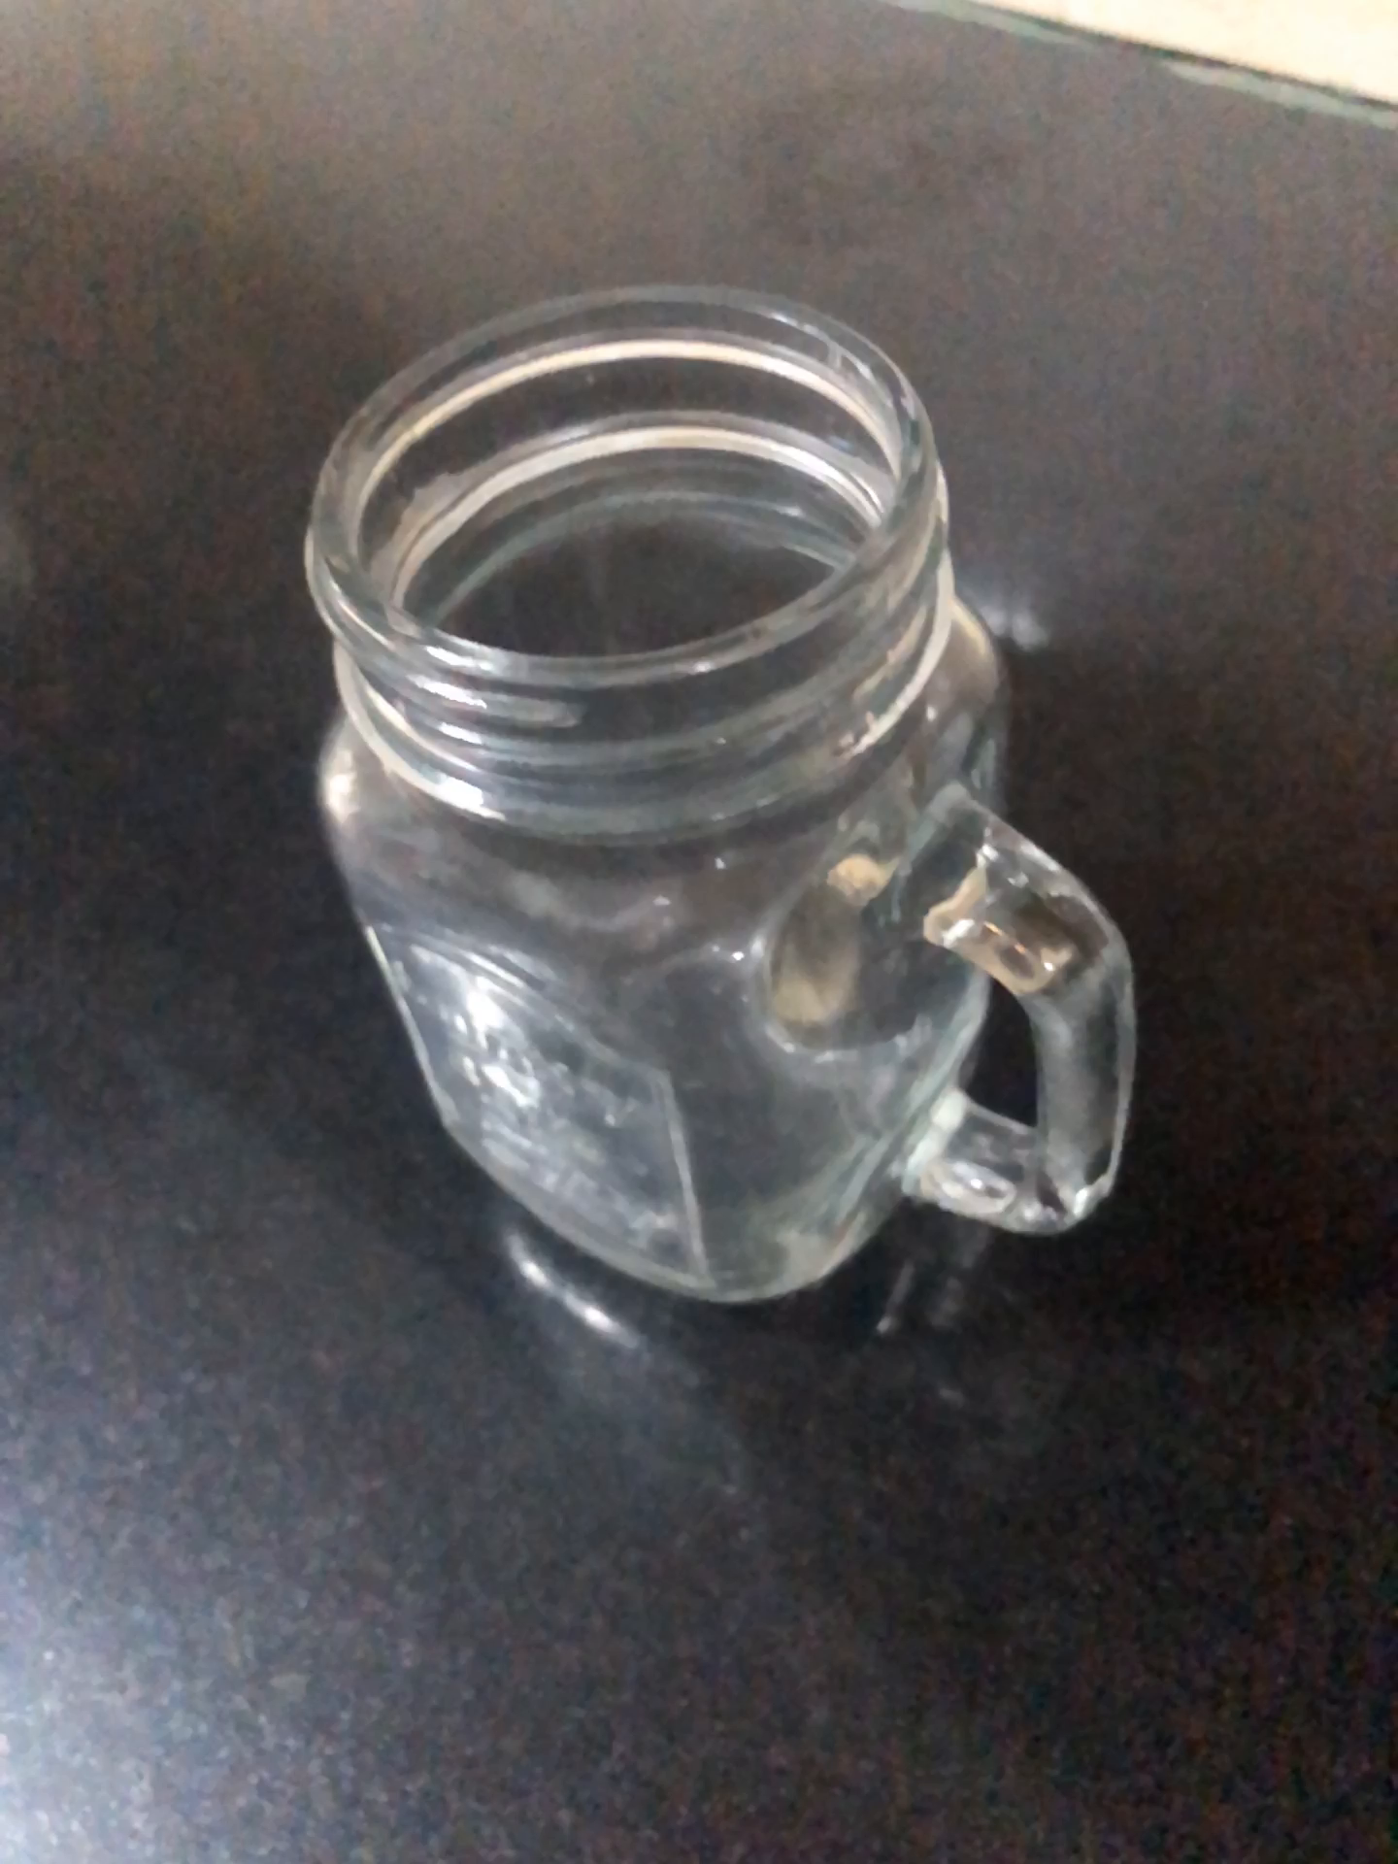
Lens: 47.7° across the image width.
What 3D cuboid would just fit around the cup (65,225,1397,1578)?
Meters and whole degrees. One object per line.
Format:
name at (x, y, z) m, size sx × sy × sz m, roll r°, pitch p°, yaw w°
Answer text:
cup at (0.008, 0.000, 0.210) m, size 0.110 × 0.129 × 0.080 m, roll 28°, pitch 60°, yaw 25°
